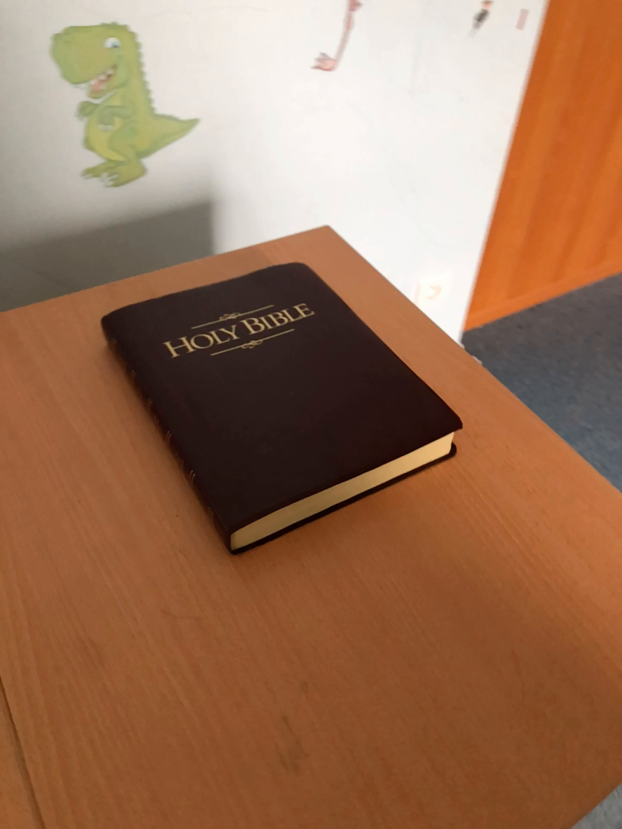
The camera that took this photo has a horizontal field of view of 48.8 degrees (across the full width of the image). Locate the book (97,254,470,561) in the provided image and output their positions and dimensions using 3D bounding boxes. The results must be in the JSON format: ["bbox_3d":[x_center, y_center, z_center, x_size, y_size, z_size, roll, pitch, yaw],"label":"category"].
[{"bbox_3d":[-0.036,-0.031,0.623,0.224,0.040,0.281,-21,51,-23],"label":"book"}]
